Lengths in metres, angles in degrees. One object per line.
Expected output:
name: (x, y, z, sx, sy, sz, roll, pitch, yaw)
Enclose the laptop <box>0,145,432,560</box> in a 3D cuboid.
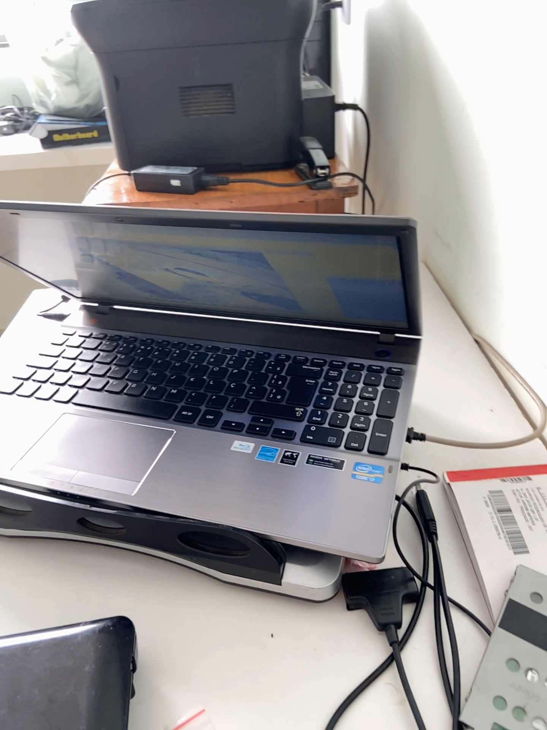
laptop: (-0.080, -0.044, 0.429, 0.359, 0.164, 0.232, 7, 37, 16)
